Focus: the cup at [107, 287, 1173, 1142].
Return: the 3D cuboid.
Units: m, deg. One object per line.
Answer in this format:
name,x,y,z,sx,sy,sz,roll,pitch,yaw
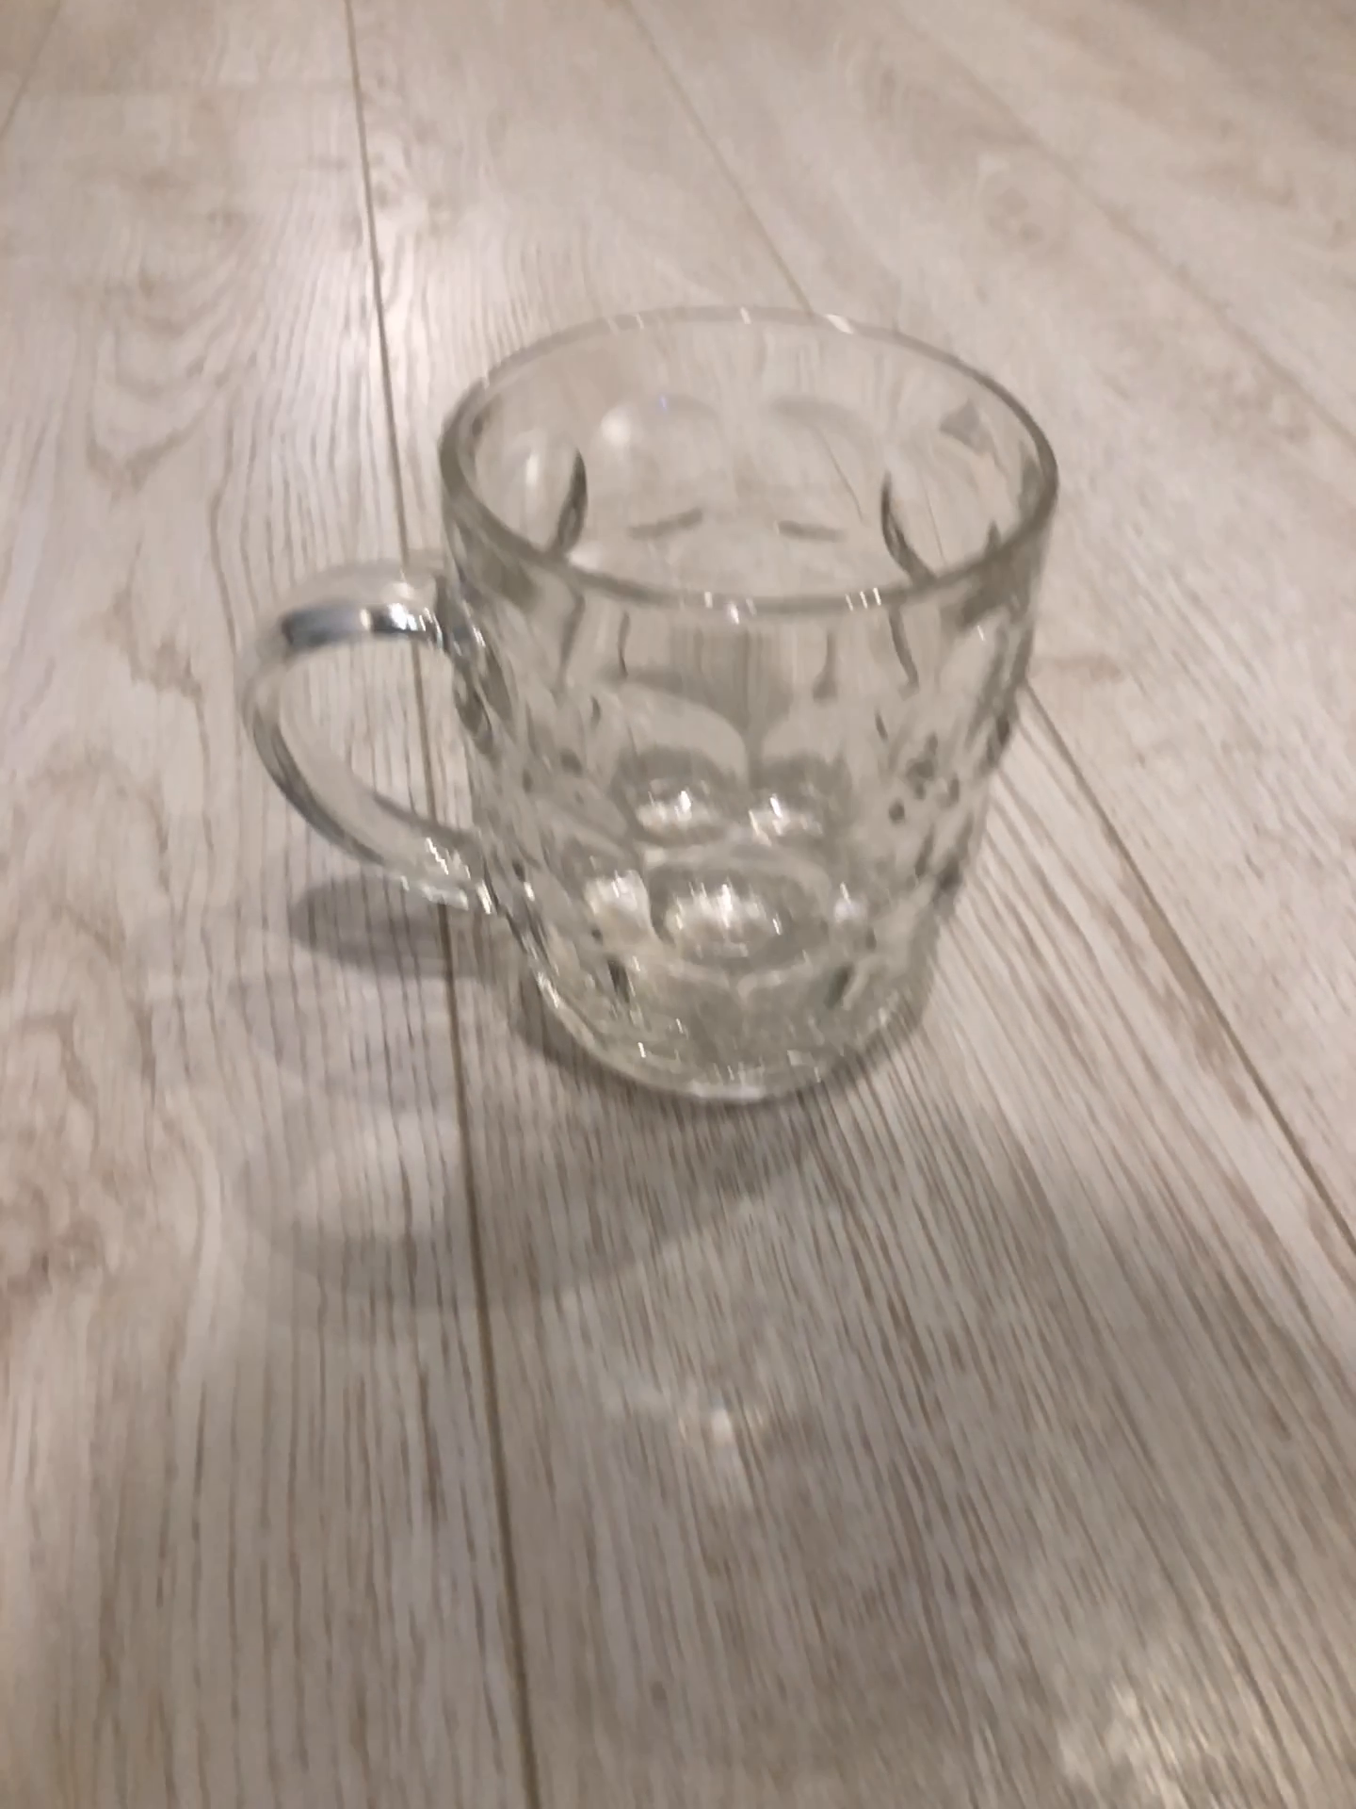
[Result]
cup,-0.006,-0.034,0.270,0.140,0.109,0.101,2,43,-1
